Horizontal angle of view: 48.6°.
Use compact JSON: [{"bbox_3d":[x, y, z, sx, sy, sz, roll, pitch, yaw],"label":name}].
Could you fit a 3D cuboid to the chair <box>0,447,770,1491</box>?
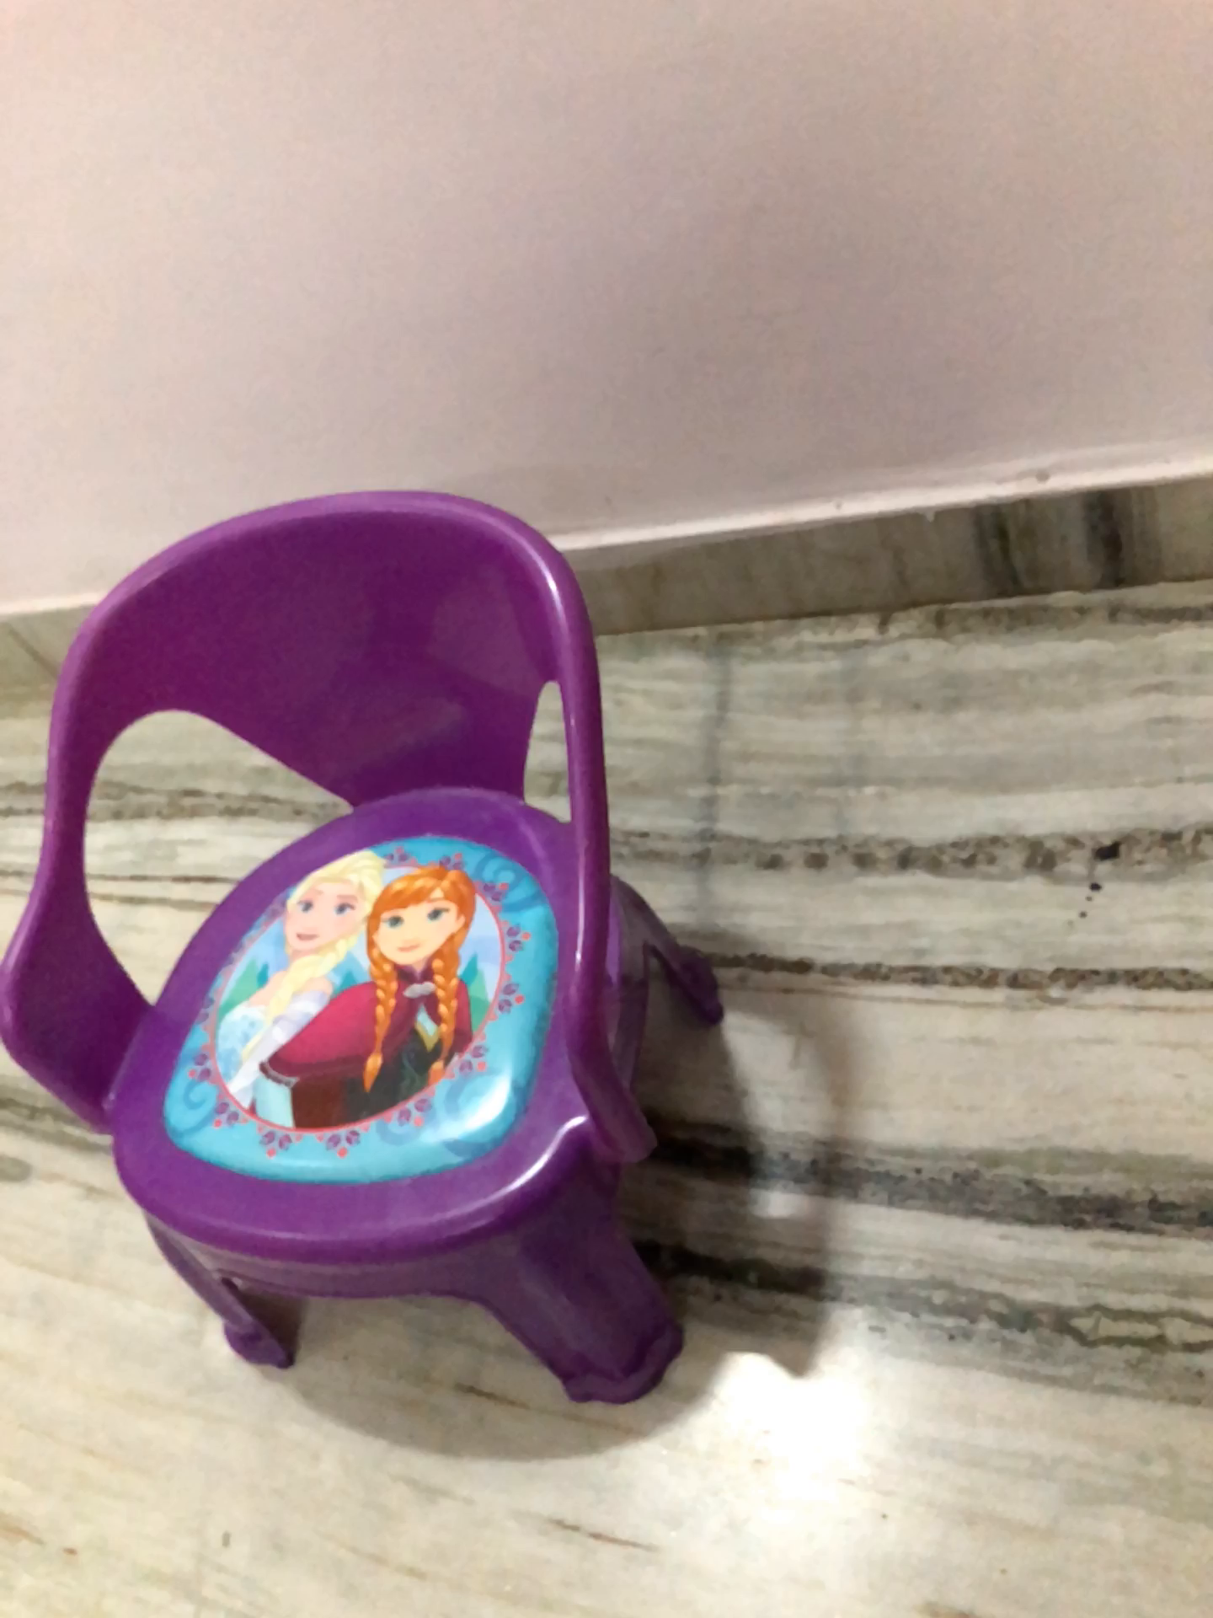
[{"bbox_3d":[-0.148,0.086,0.736,0.350,0.348,0.391,-1,51,22],"label":"chair"}]
